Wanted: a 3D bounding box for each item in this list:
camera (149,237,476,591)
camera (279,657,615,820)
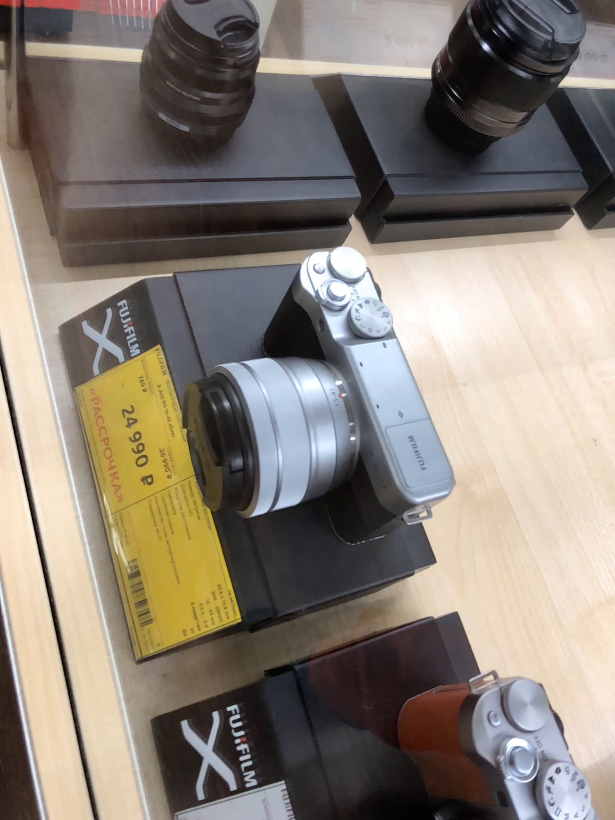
[{"bbox_3d":[-0.005,-0.001,0.289,0.088,0.073,0.120,-9,69,-26],"label":"camera"},{"bbox_3d":[0.060,0.168,0.235,0.088,0.073,0.128,-9,69,-26],"label":"camera"}]
